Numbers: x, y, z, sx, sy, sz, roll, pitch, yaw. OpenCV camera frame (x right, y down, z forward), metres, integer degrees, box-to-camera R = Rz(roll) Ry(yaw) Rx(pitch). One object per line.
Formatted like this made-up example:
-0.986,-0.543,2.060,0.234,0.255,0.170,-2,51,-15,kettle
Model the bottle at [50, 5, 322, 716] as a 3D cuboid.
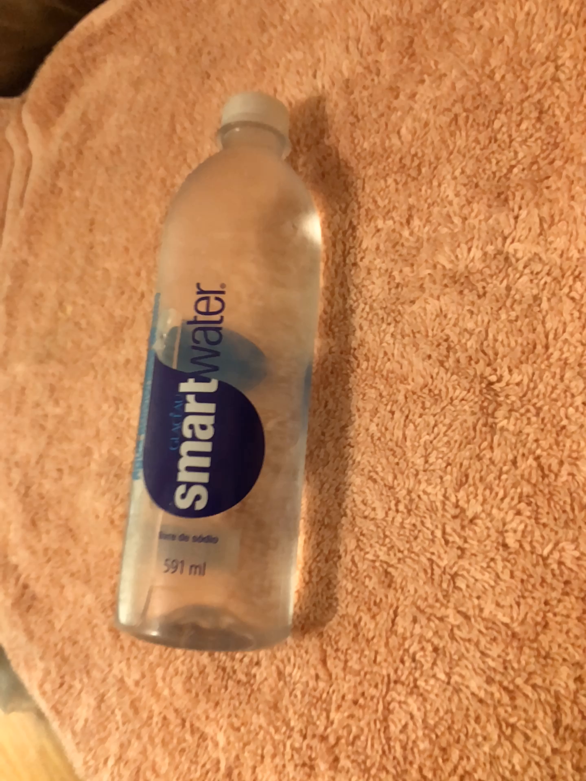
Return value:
-0.039,-0.013,0.251,0.080,0.050,0.230,-6,78,39,bottle
